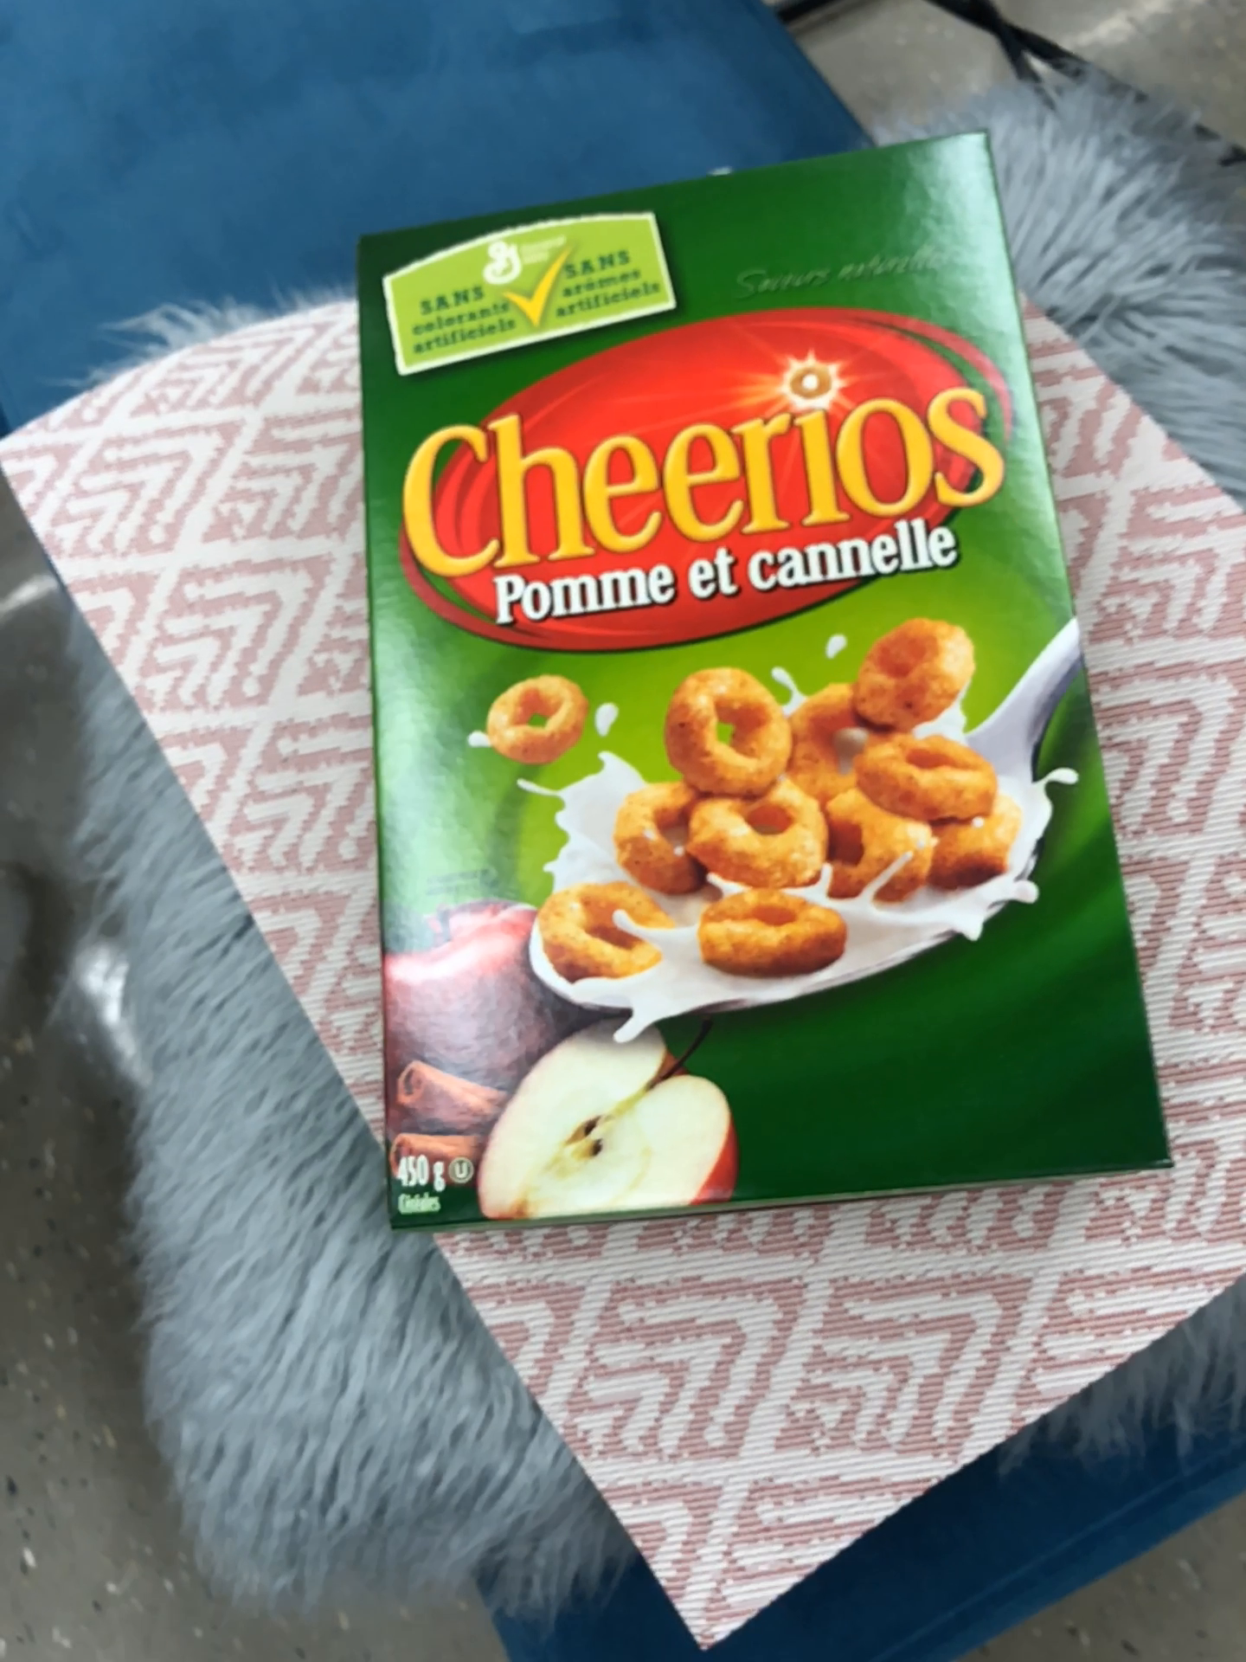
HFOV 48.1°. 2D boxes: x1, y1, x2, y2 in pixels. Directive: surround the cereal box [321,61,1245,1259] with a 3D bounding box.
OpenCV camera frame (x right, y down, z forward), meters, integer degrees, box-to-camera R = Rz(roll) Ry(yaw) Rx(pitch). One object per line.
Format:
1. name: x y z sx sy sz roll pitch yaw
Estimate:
1. cereal box: 0.033 -0.051 0.401 0.210 0.070 0.310 -6 76 2
